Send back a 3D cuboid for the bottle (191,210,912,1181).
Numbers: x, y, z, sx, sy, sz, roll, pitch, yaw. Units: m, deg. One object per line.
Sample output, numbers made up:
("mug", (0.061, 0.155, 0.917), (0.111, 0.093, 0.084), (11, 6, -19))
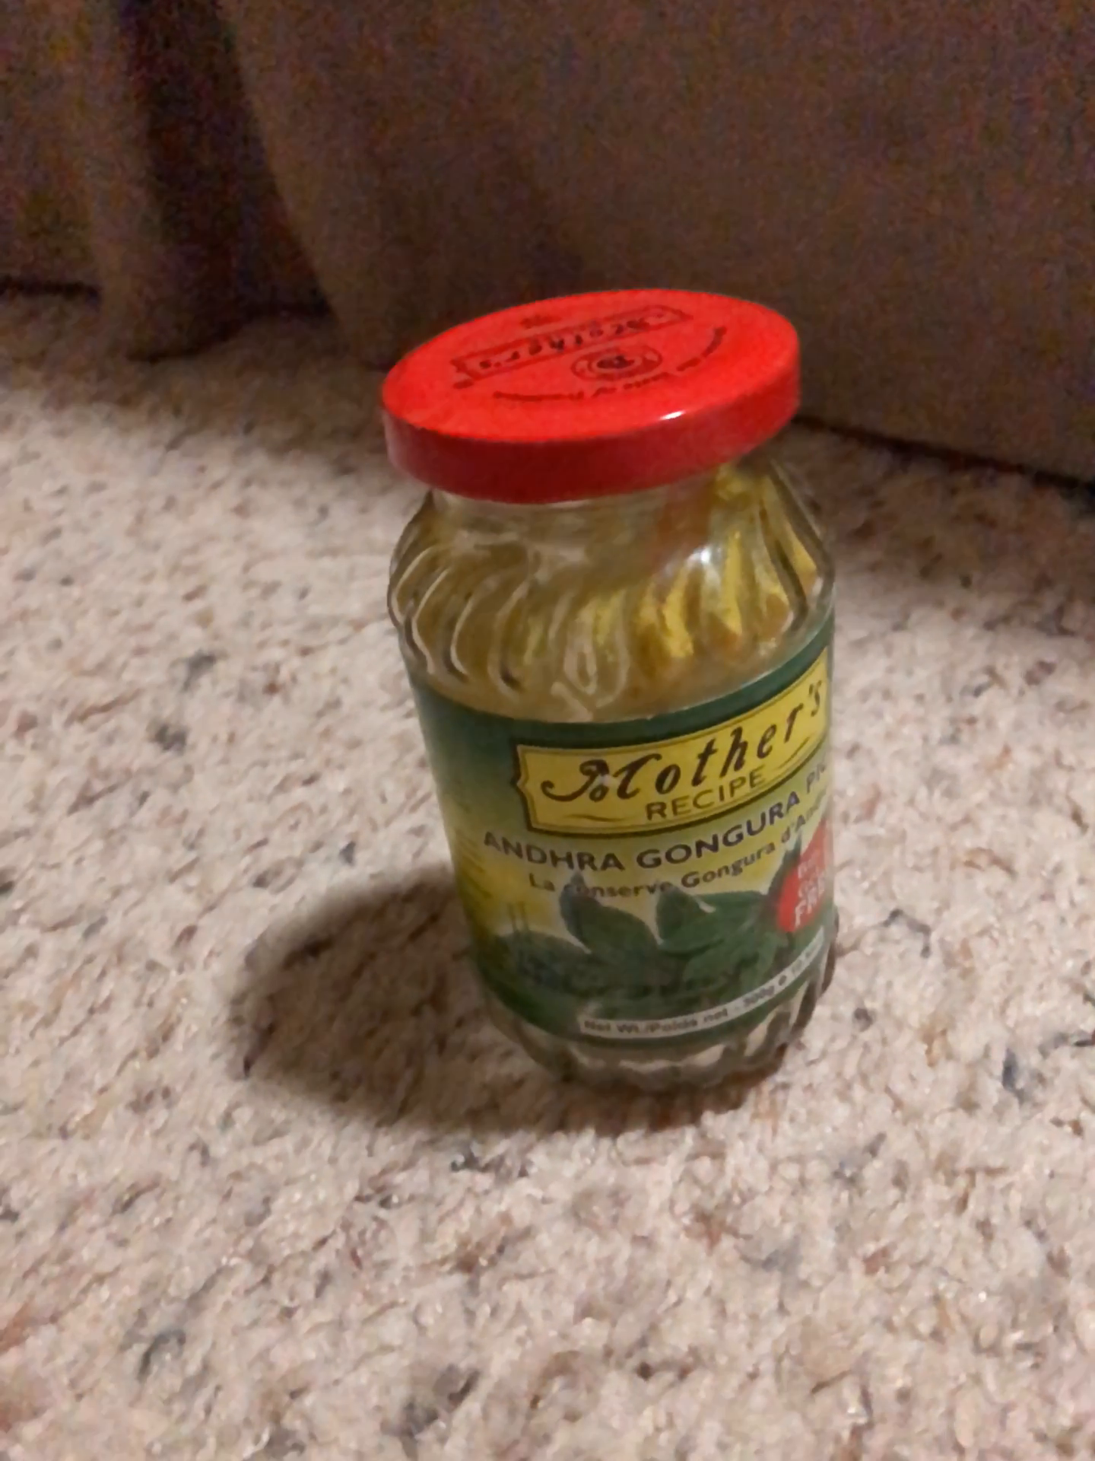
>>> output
("bottle", (0.001, -0.006, 0.184), (0.070, 0.110, 0.070), (-5, 36, 4))
